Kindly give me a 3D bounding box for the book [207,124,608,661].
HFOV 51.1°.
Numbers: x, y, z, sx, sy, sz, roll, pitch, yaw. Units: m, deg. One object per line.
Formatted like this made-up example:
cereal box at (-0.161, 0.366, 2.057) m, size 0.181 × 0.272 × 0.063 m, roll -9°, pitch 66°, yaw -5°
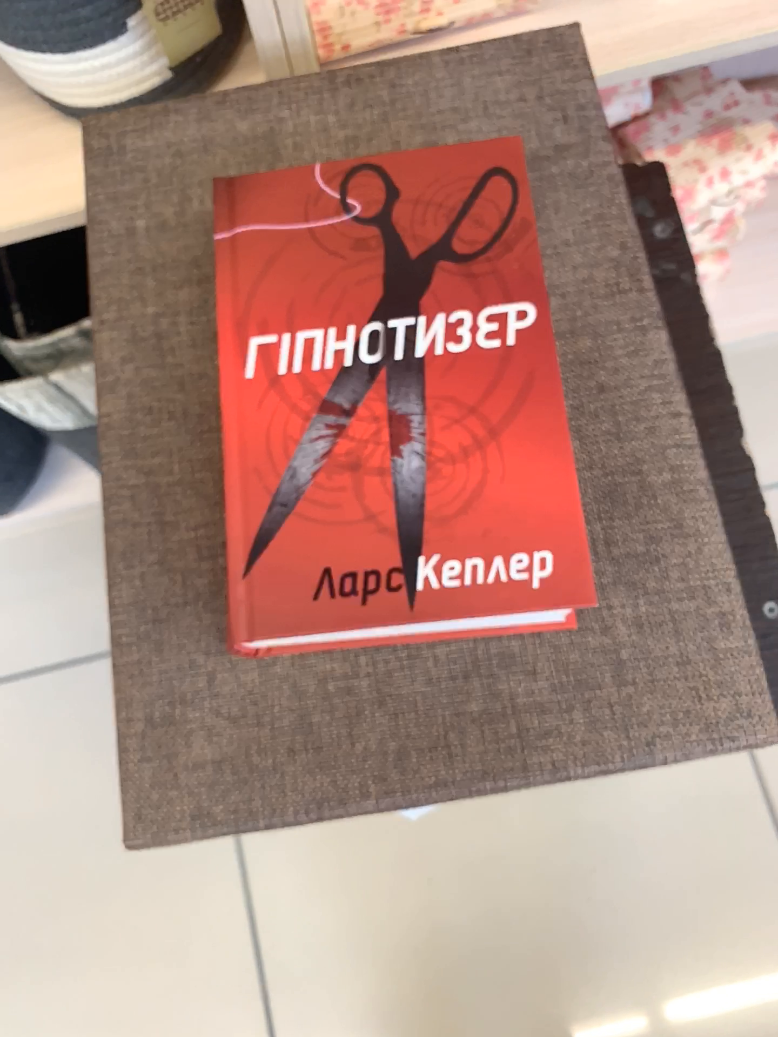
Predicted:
book at (0.002, -0.050, 0.325) m, size 0.132 × 0.050 × 0.195 m, roll -6°, pitch 74°, yaw 4°
